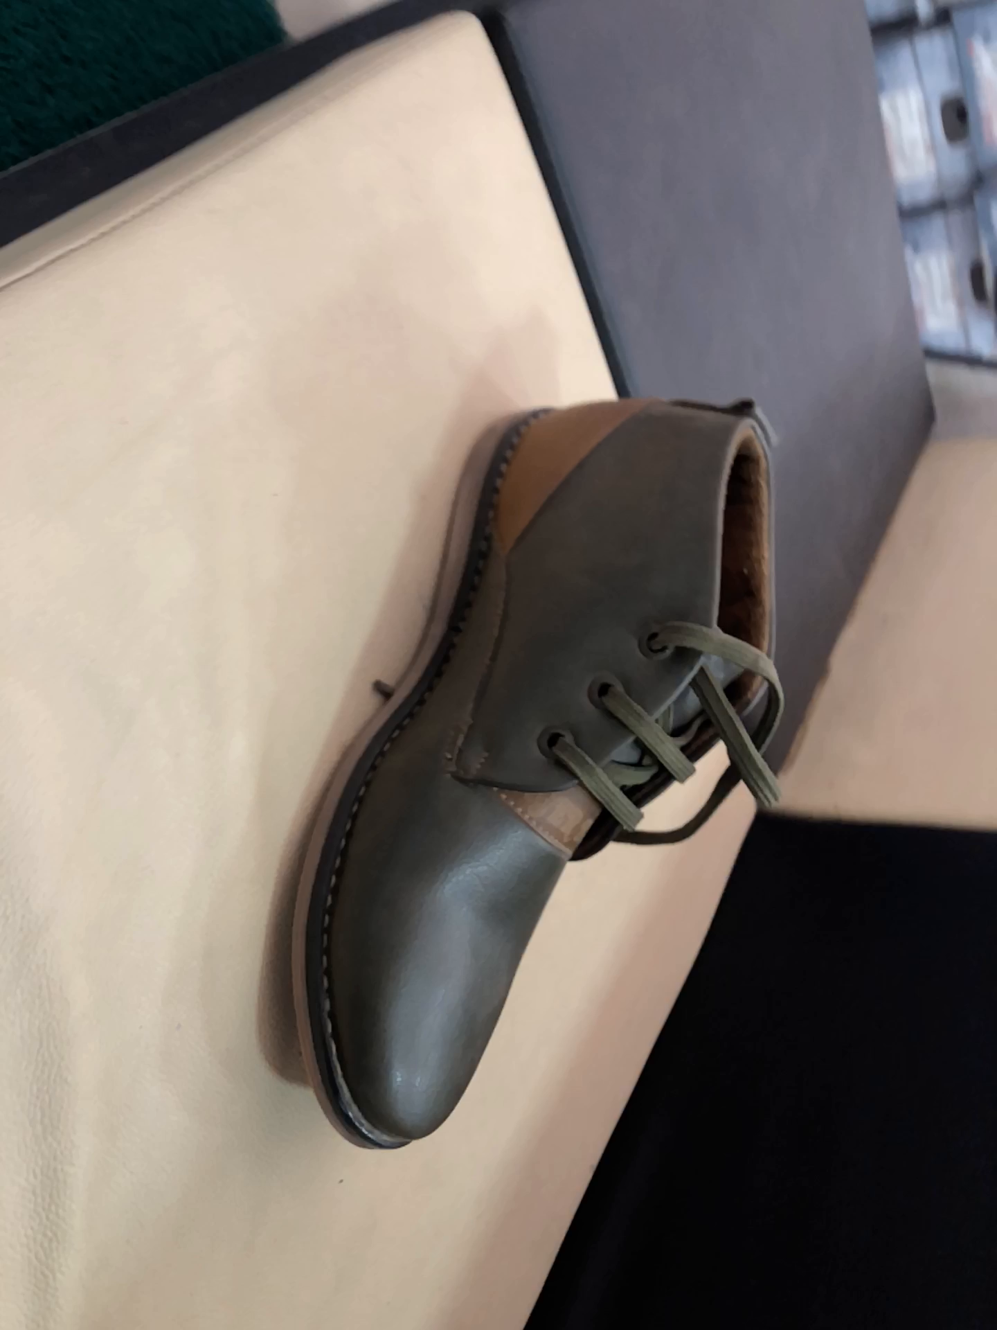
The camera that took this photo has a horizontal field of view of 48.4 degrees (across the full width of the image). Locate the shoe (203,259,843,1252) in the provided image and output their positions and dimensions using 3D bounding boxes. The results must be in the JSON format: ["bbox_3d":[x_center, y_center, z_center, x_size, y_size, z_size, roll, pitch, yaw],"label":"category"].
[{"bbox_3d":[0.022,0.015,0.352,0.081,0.099,0.280,42,59,-46],"label":"shoe"}]
